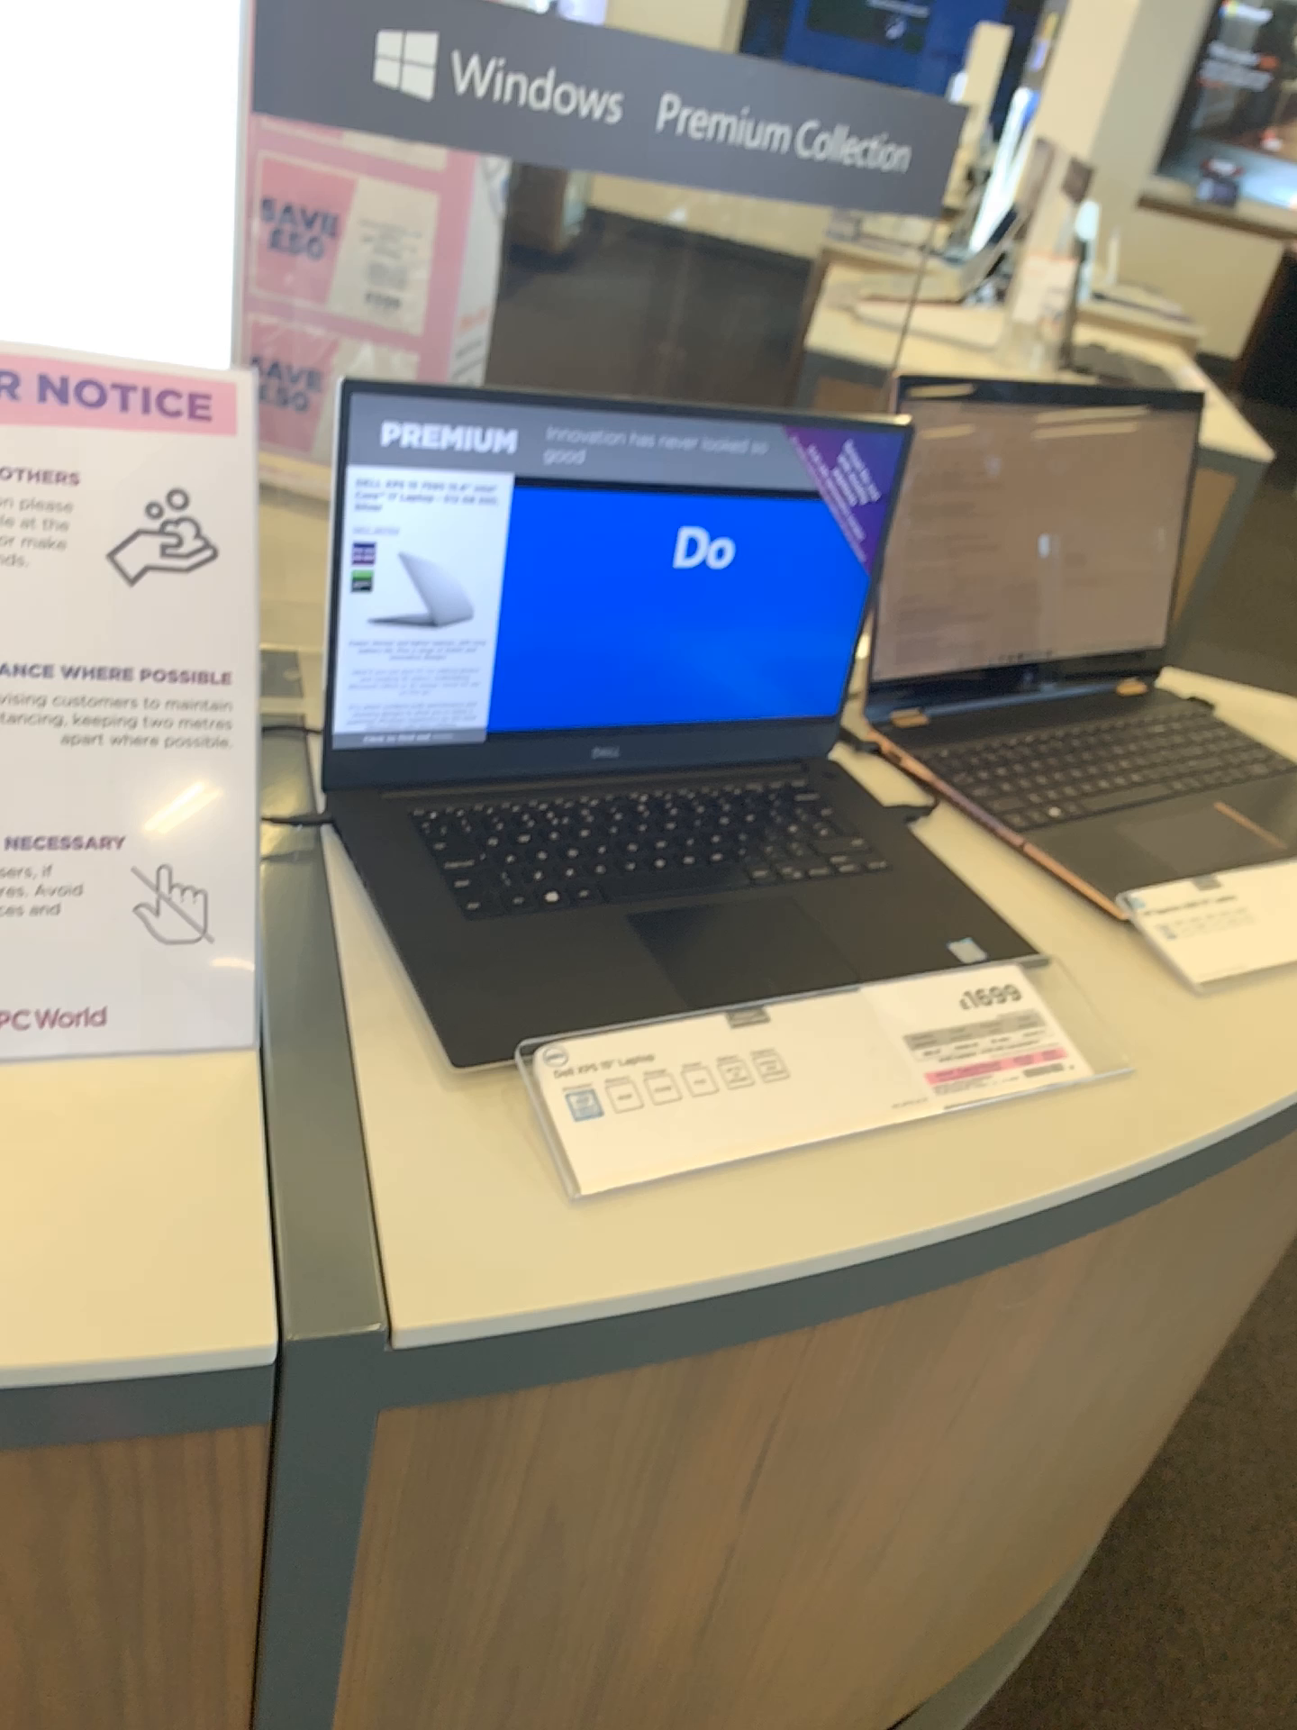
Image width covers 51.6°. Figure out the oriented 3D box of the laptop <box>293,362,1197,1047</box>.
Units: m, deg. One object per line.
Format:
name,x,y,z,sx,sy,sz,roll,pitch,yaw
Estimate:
laptop,0.029,-0.098,0.705,0.351,0.224,0.254,-6,36,-28
